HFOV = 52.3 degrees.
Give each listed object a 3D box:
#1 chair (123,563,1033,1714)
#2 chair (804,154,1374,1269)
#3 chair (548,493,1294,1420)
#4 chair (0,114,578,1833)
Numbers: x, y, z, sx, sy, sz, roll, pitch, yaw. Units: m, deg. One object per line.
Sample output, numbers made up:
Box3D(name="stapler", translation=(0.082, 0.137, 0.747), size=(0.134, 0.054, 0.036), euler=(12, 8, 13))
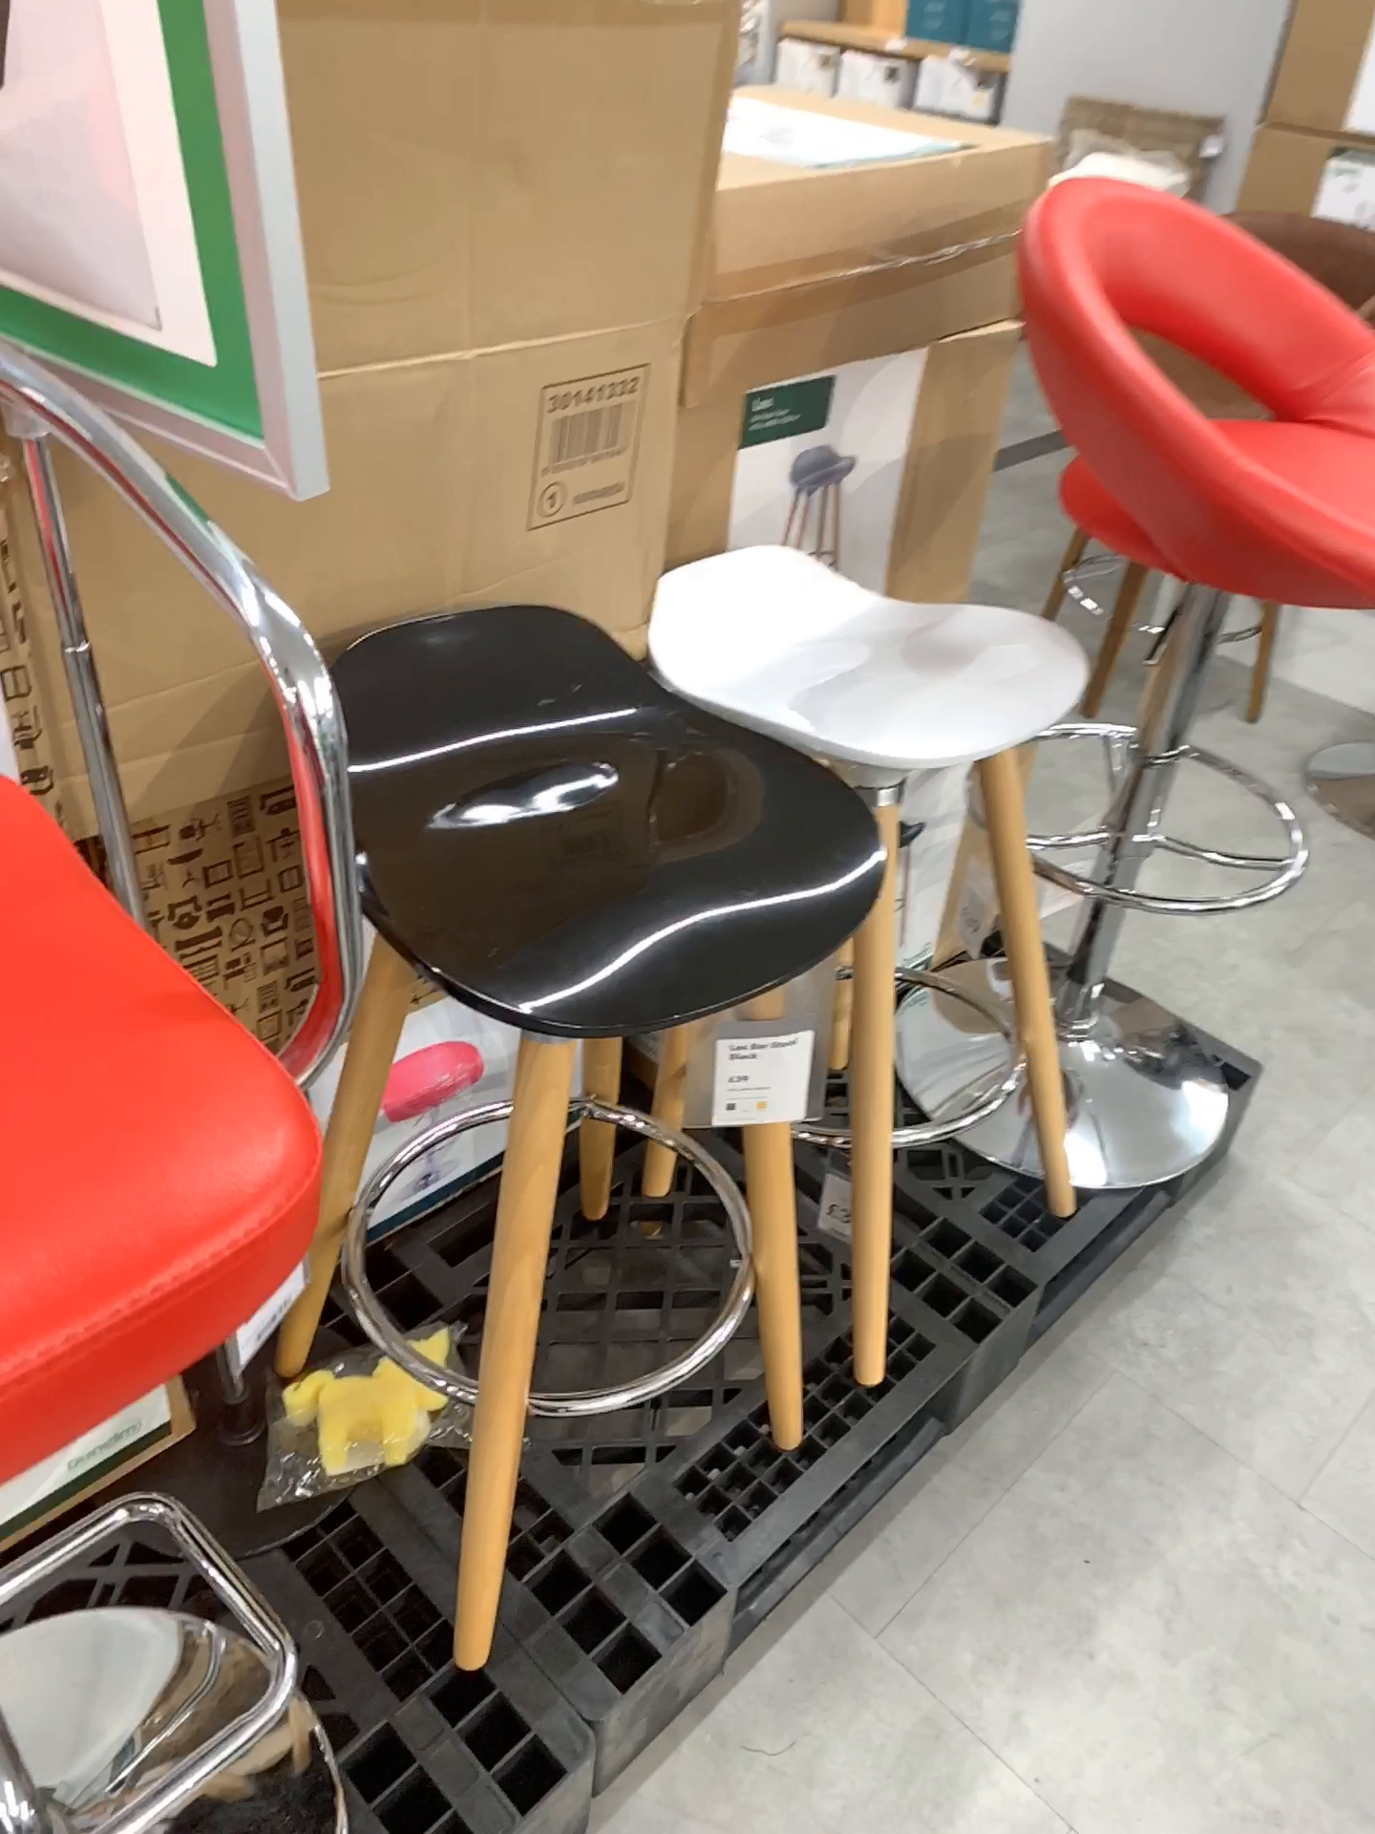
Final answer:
Box3D(name="chair", translation=(-0.101, 0.154, 1.115), size=(0.430, 0.673, 0.432), euler=(-22, 43, -33))
Box3D(name="chair", translation=(0.513, -0.219, 1.507), size=(0.451, 0.980, 0.512), euler=(29, 42, 30))
Box3D(name="chair", translation=(0.177, 0.017, 1.384), size=(0.411, 0.663, 0.482), euler=(-27, 46, -37))
Box3D(name="chair", translation=(-0.415, 0.265, 0.639), size=(0.451, 1.029, 0.552), euler=(29, 42, 30))
